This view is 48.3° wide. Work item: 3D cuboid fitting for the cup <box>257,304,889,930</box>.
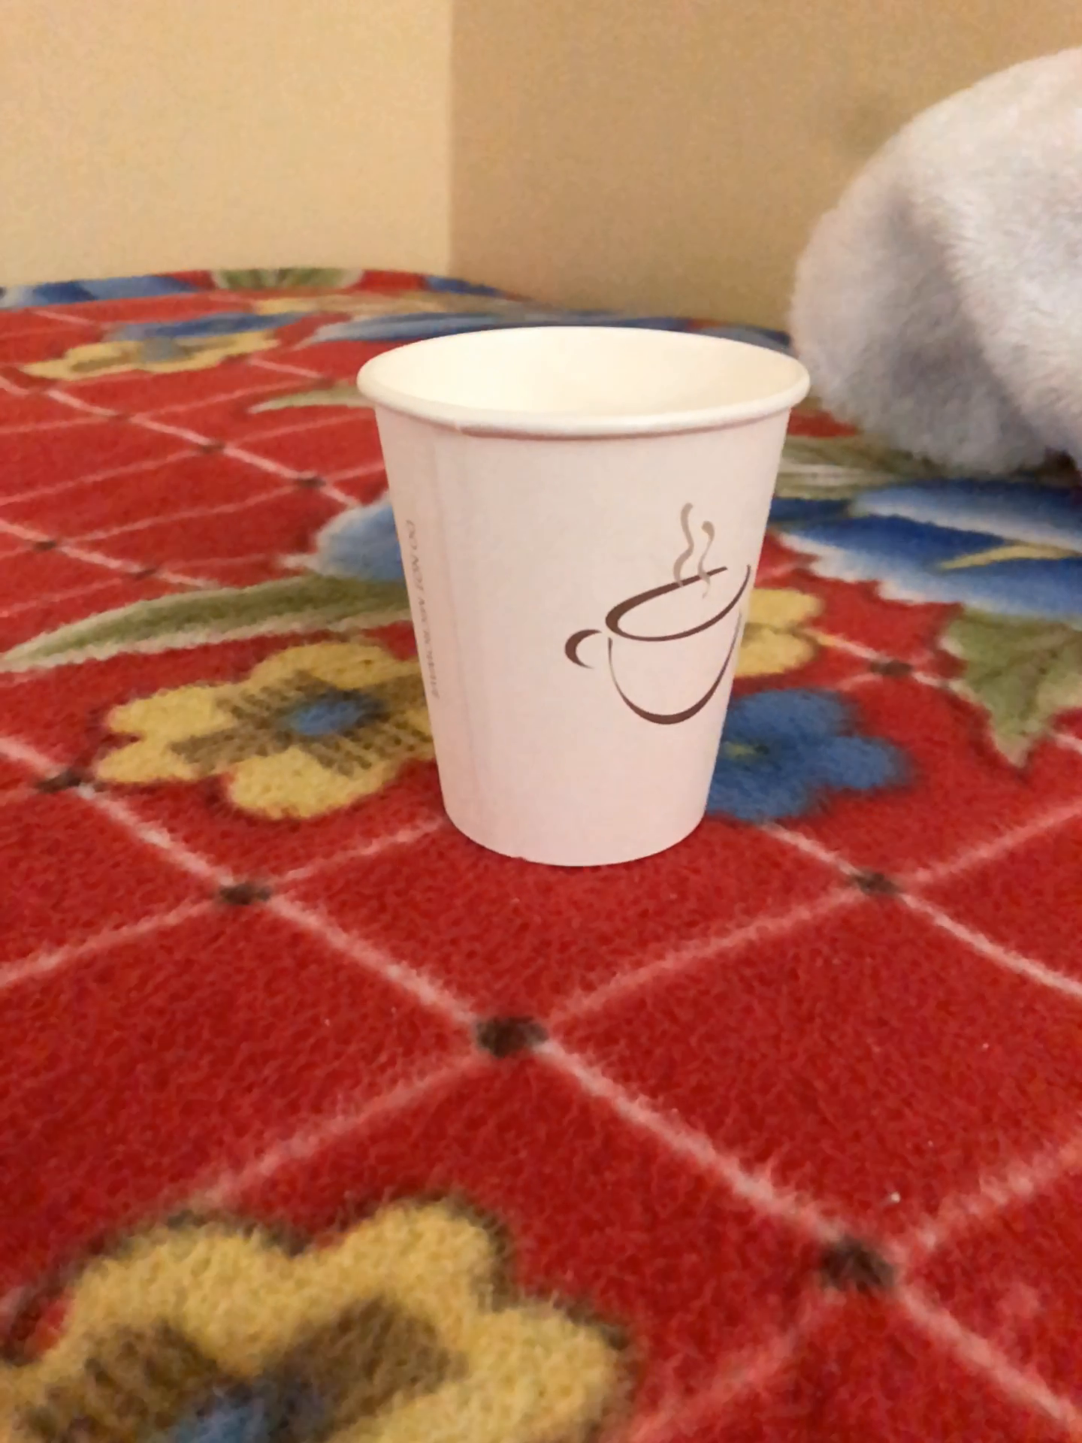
[{"bbox_3d":[0.001,-0.029,0.247,0.090,0.090,0.080,-13,33,-26],"label":"cup"}]
